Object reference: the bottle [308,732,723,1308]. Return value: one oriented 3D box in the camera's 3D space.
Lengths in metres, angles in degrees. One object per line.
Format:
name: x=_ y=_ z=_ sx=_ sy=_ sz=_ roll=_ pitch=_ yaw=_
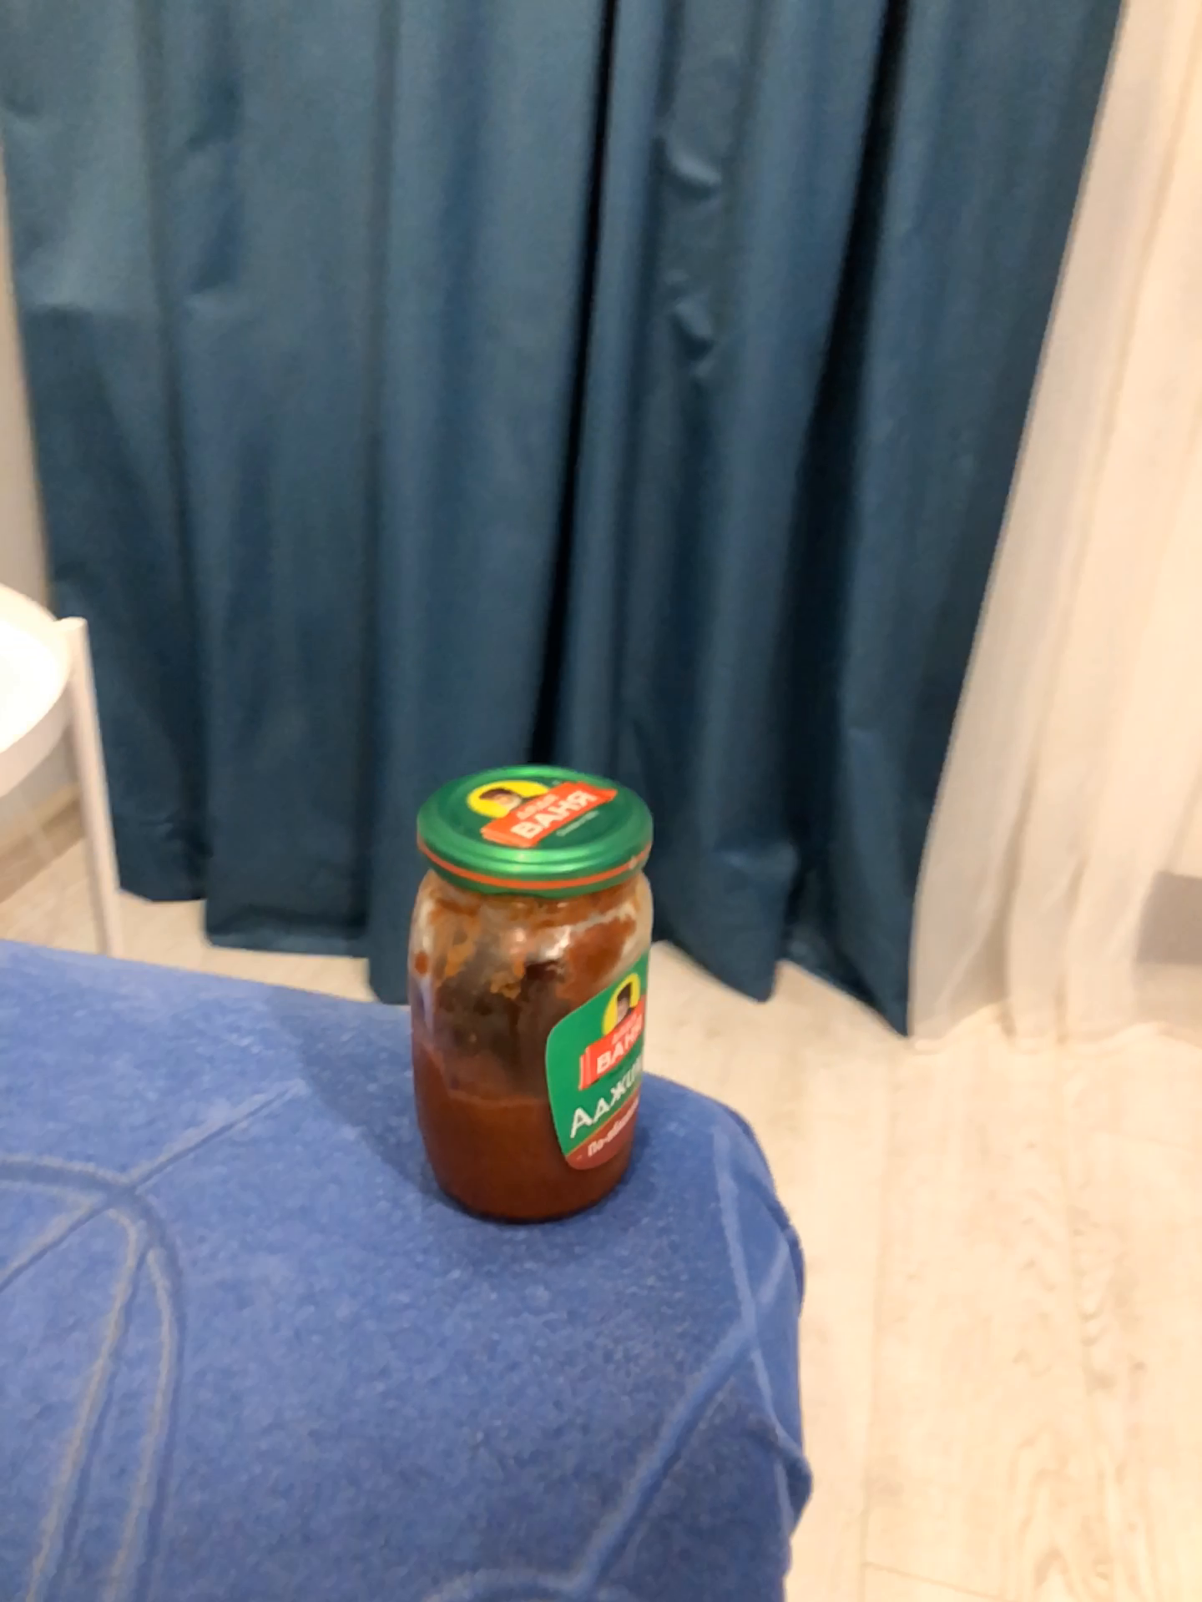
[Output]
bottle: x=-0.017 y=0.044 z=0.289 sx=0.060 sy=0.092 sz=0.060 roll=1 pitch=25 yaw=-1
